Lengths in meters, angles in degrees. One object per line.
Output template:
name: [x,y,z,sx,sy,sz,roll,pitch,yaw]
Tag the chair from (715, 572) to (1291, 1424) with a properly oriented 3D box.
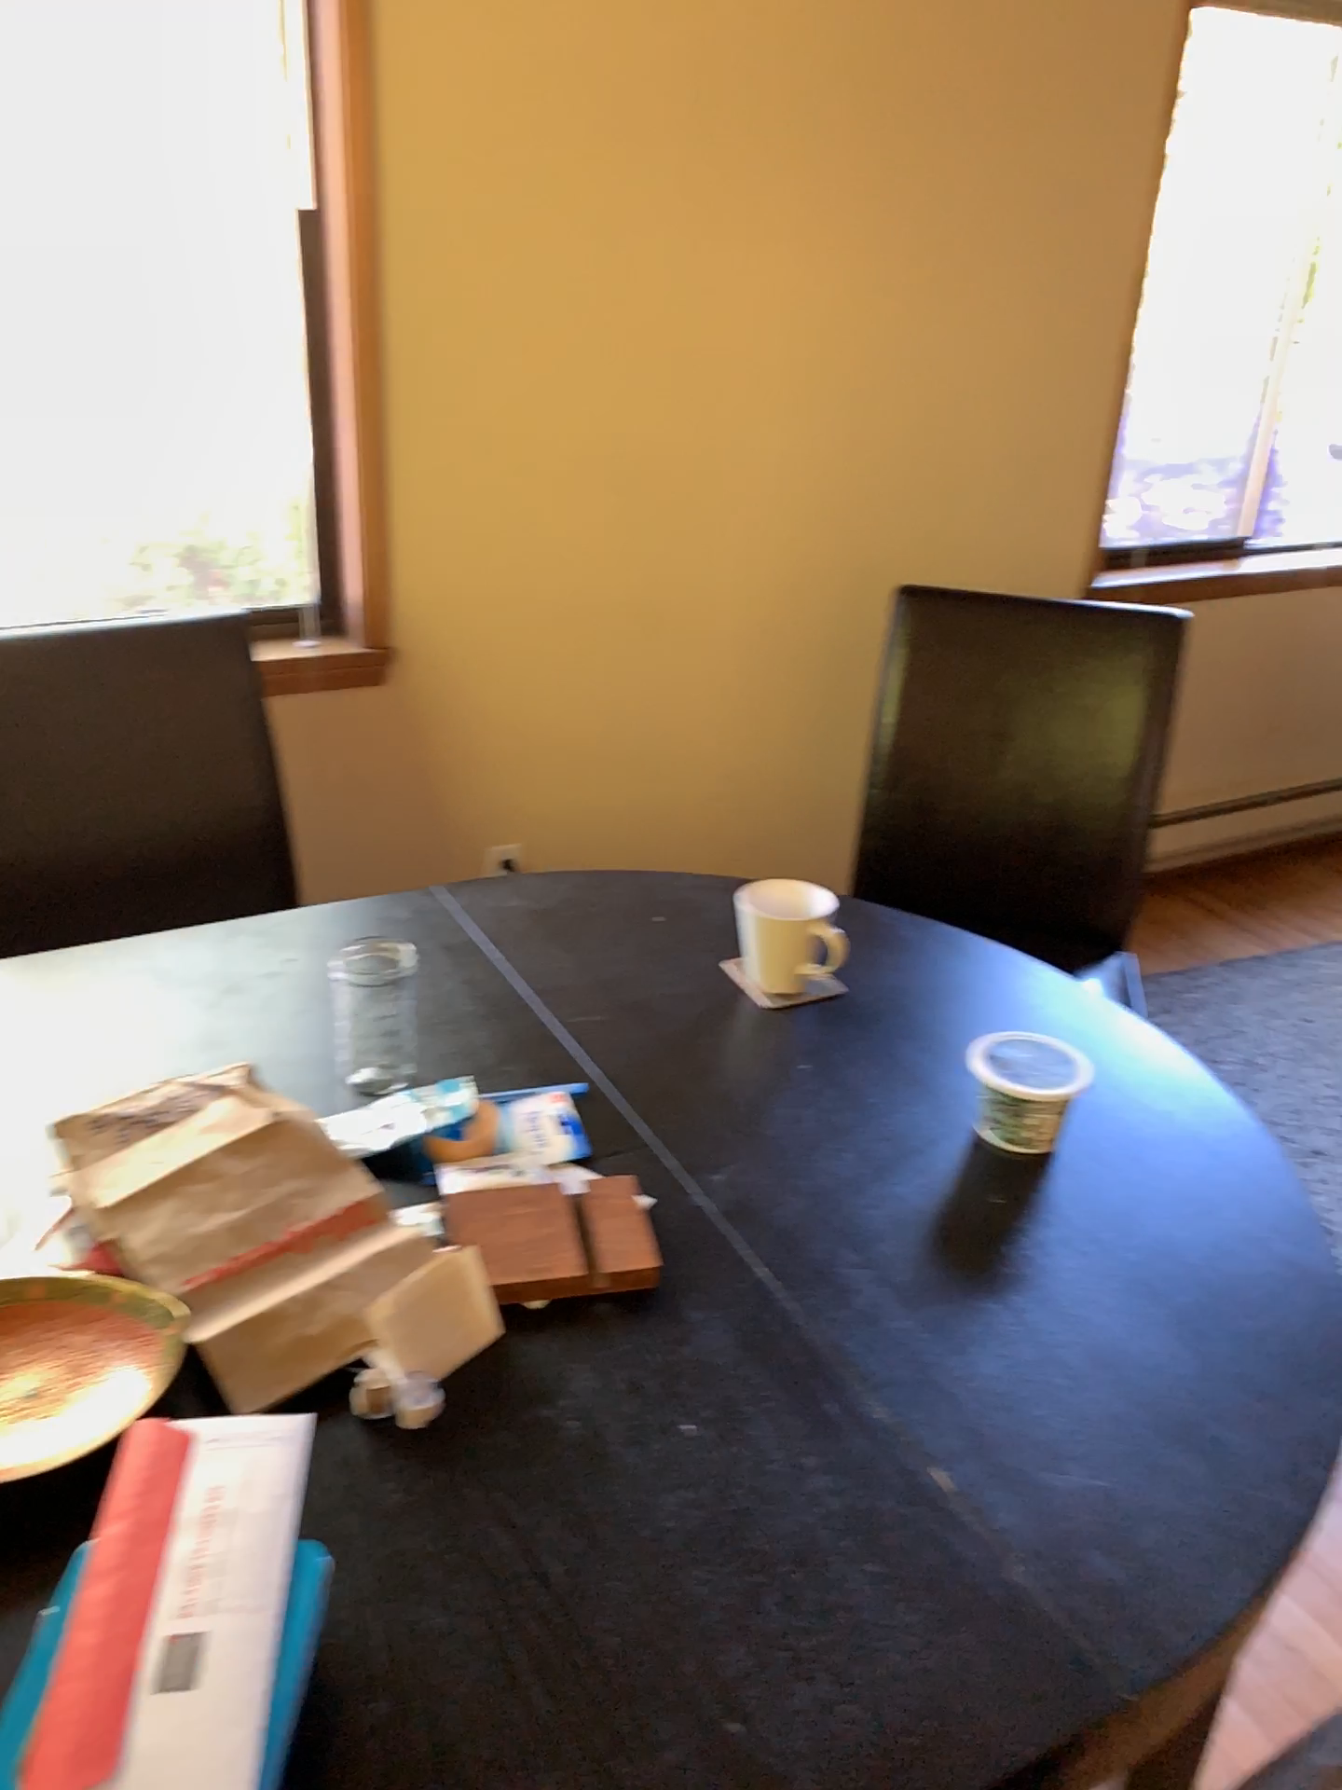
chair: [0.479,0.127,2.189,0.620,1.084,0.653,9,26,12]
